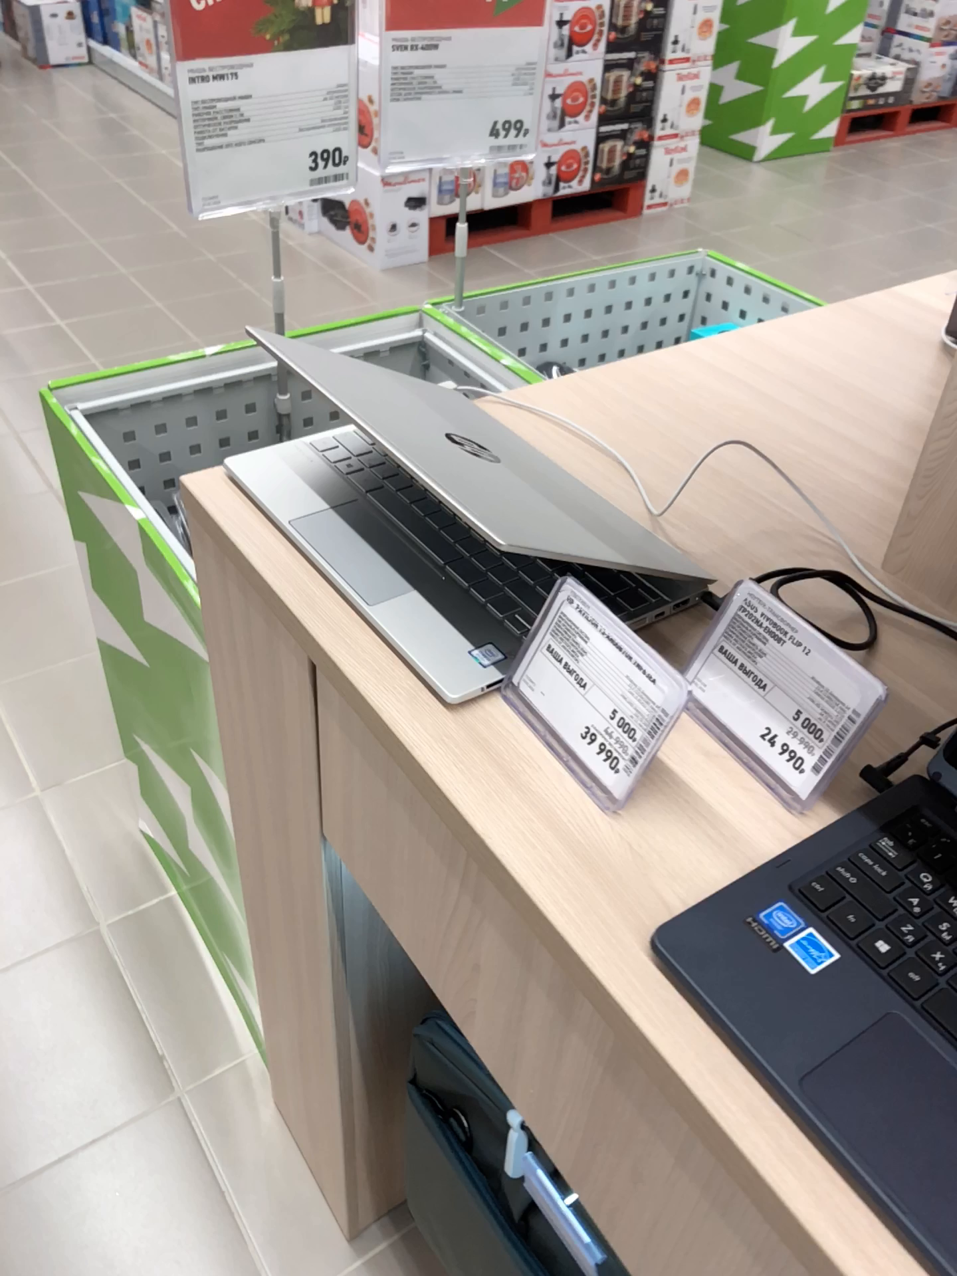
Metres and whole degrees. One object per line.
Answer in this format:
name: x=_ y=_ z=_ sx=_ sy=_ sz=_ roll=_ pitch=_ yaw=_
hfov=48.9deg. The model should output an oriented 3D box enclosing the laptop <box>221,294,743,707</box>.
laptop: x=-0.014 y=-0.119 z=0.735 sx=0.206 sy=0.095 sz=0.323 roll=-22 pitch=45 yaw=-27
